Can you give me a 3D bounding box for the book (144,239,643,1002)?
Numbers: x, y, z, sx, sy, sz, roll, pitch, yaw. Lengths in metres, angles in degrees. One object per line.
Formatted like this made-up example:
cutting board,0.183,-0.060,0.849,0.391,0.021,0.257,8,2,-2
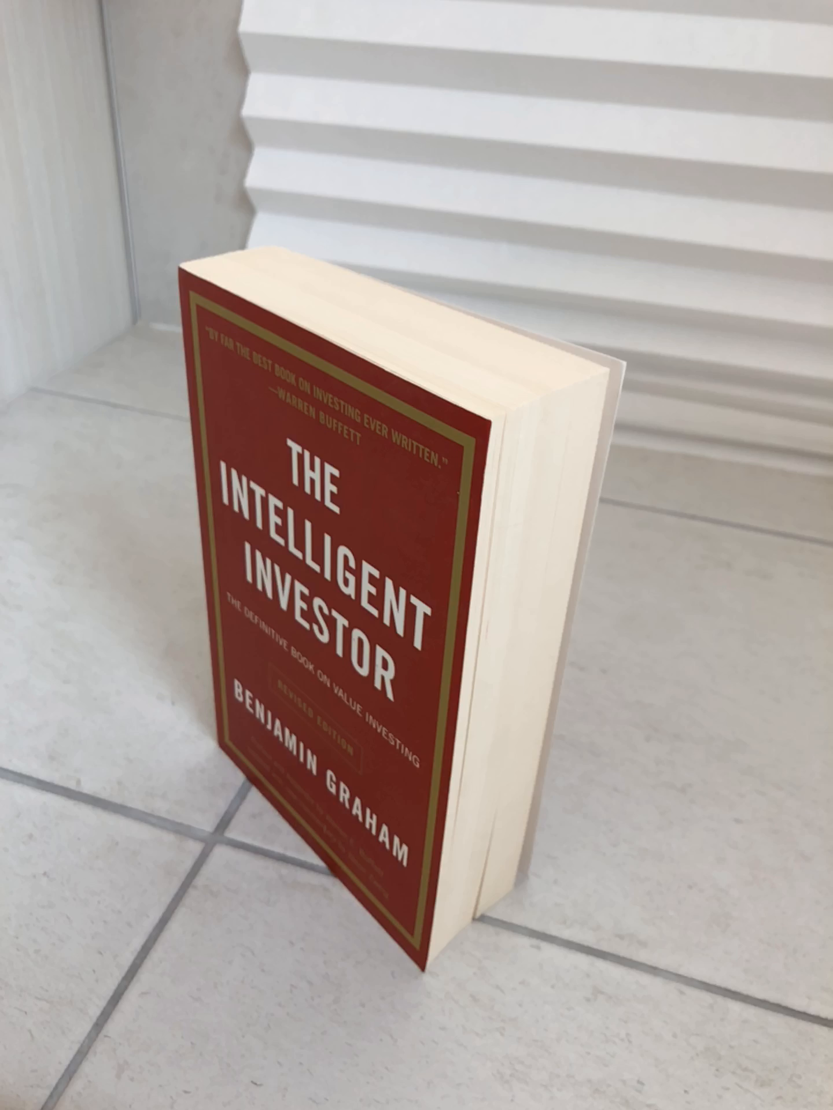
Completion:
book,-0.019,0.019,0.316,0.057,0.206,0.149,-23,41,-35
